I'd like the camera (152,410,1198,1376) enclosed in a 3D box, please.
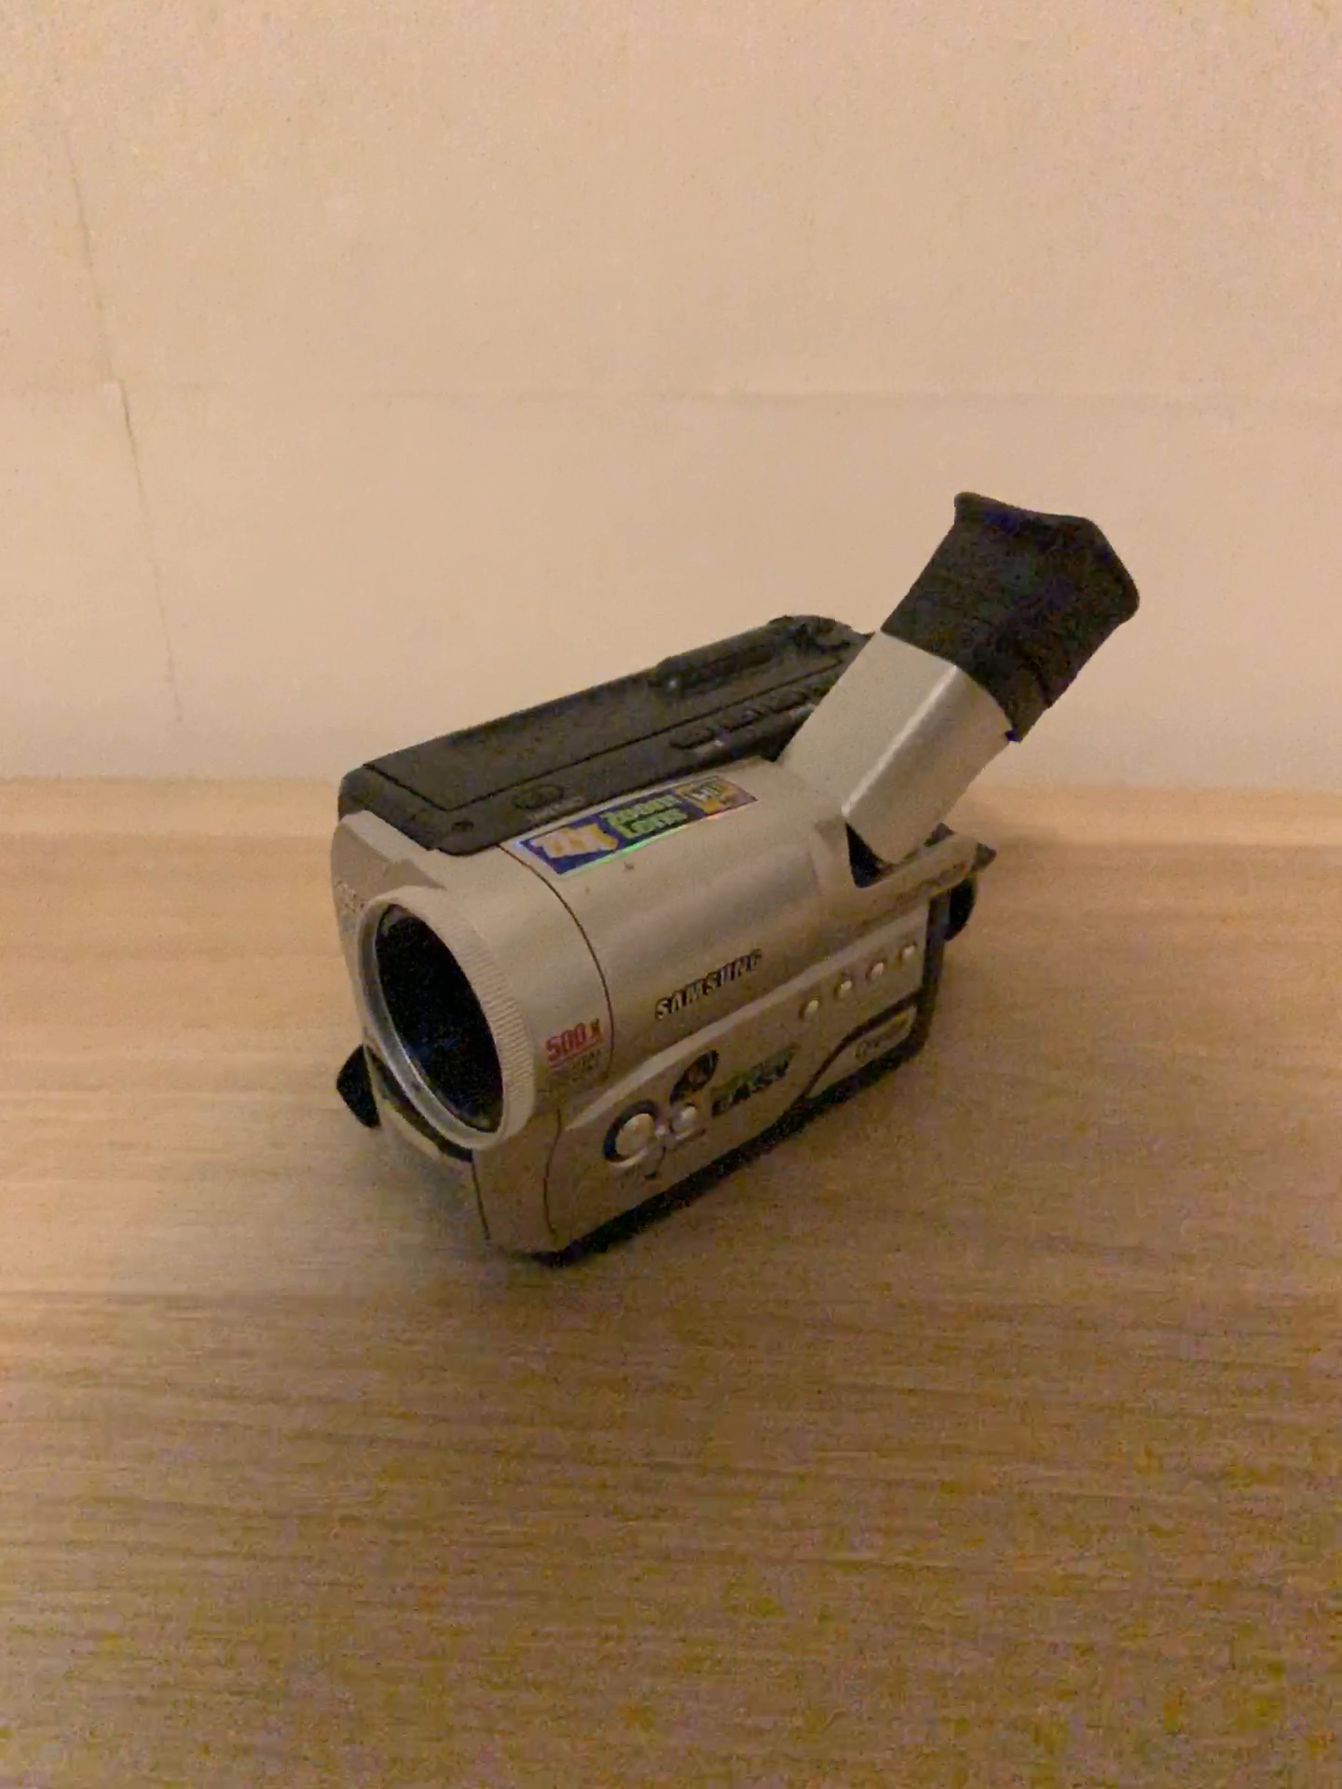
[{"bbox_3d":[0.009,-0.021,0.315,0.192,0.133,0.106,-24,38,-37],"label":"camera"}]
